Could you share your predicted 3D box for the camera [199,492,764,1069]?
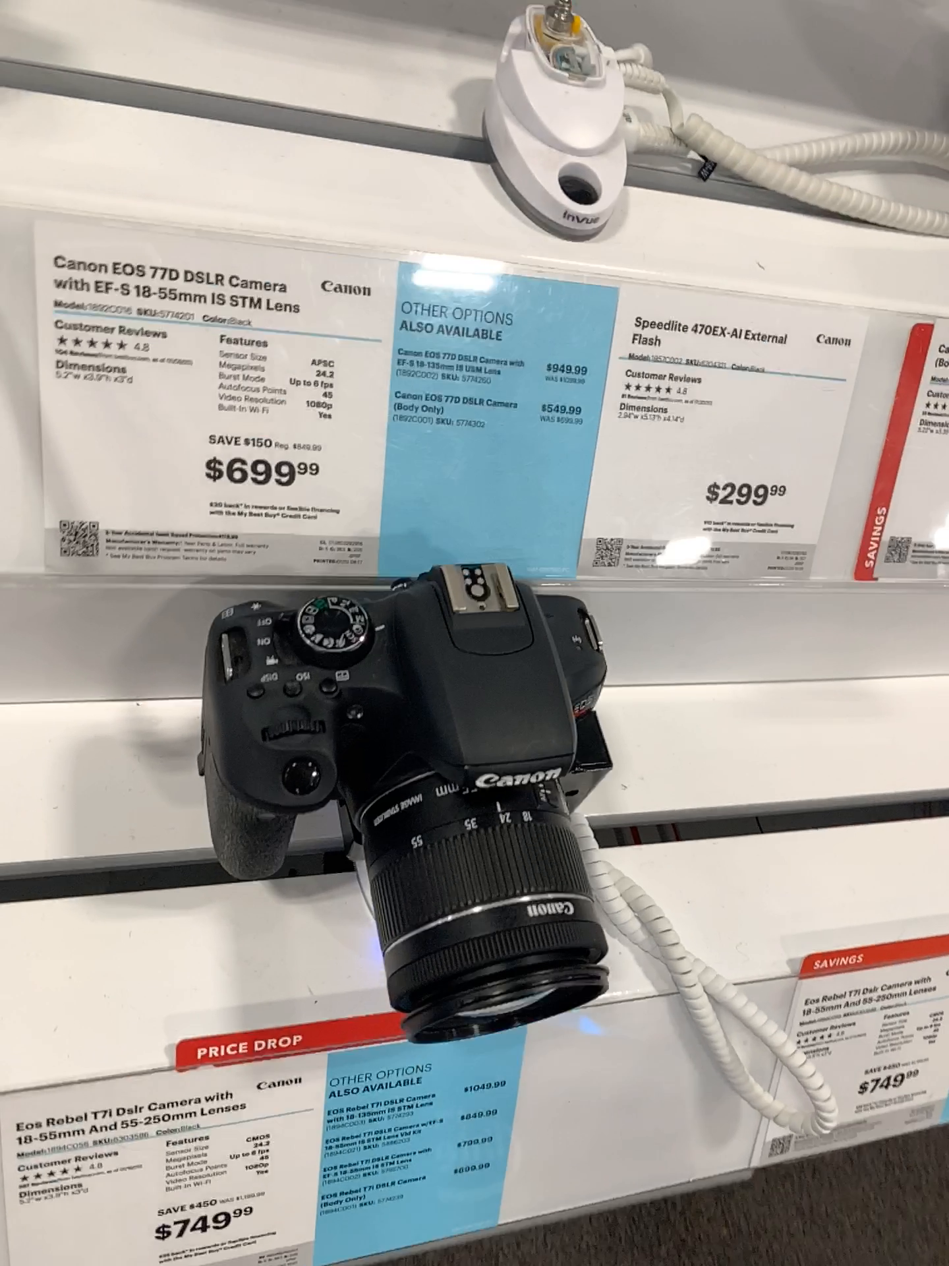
[{"bbox_3d":[-0.013,0.043,0.312,0.130,0.100,0.138,-5,60,-20],"label":"camera"}]
